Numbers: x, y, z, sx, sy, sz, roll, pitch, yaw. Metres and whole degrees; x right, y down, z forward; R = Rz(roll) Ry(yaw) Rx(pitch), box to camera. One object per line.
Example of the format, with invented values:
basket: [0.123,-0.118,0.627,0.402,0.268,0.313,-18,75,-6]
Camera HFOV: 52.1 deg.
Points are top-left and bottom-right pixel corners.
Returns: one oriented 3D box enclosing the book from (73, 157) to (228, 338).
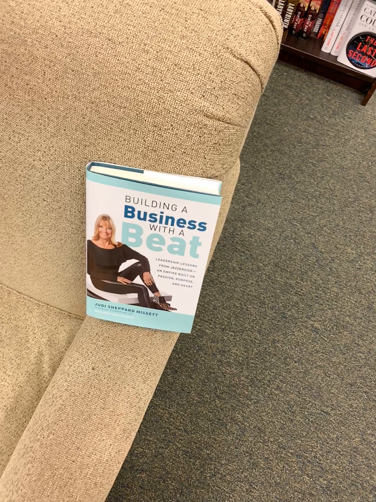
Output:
book: [-0.054,0.007,0.504,0.170,0.230,0.040,11,37,2]
